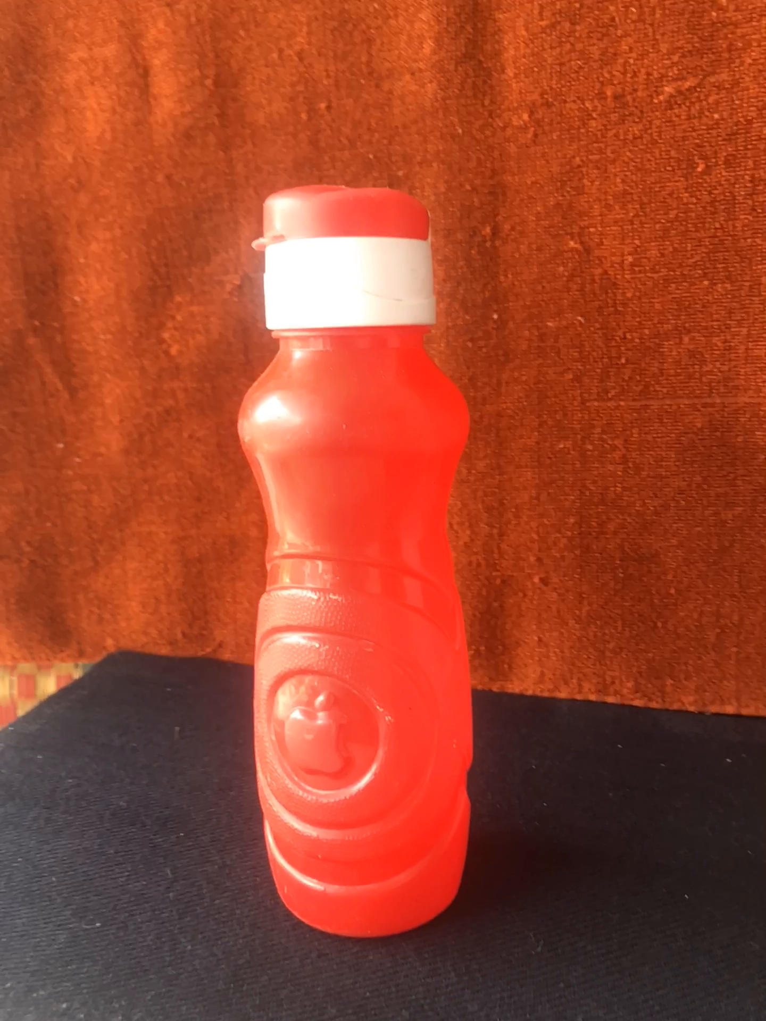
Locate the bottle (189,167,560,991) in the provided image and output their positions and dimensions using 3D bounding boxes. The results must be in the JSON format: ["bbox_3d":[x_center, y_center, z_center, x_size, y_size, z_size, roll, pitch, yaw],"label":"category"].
[{"bbox_3d":[0.003,0.018,0.263,0.080,0.219,0.070,6,16,26],"label":"bottle"}]
